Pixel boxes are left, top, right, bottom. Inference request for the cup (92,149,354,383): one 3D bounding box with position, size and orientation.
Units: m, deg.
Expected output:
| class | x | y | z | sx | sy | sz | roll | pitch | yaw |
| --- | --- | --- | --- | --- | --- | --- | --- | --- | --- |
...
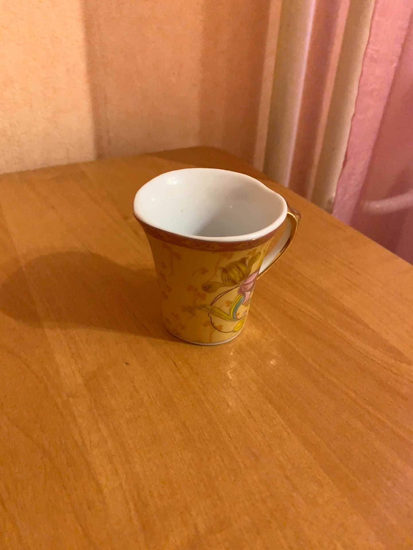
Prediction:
| class | x | y | z | sx | sy | sz | roll | pitch | yaw |
| --- | --- | --- | --- | --- | --- | --- | --- | --- | --- |
| cup | 0.008 | -0.013 | 0.210 | 0.094 | 0.061 | 0.072 | -25 | 43 | -34 |
